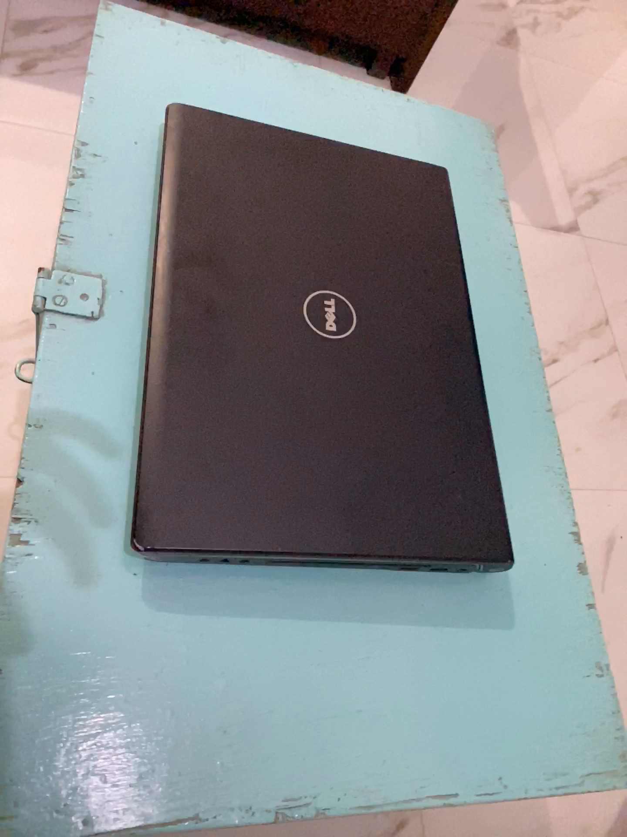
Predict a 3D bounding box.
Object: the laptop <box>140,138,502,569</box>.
[{"bbox_3d":[0.013,-0.070,0.538,0.269,0.004,0.385,7,63,-17],"label":"laptop"}]
